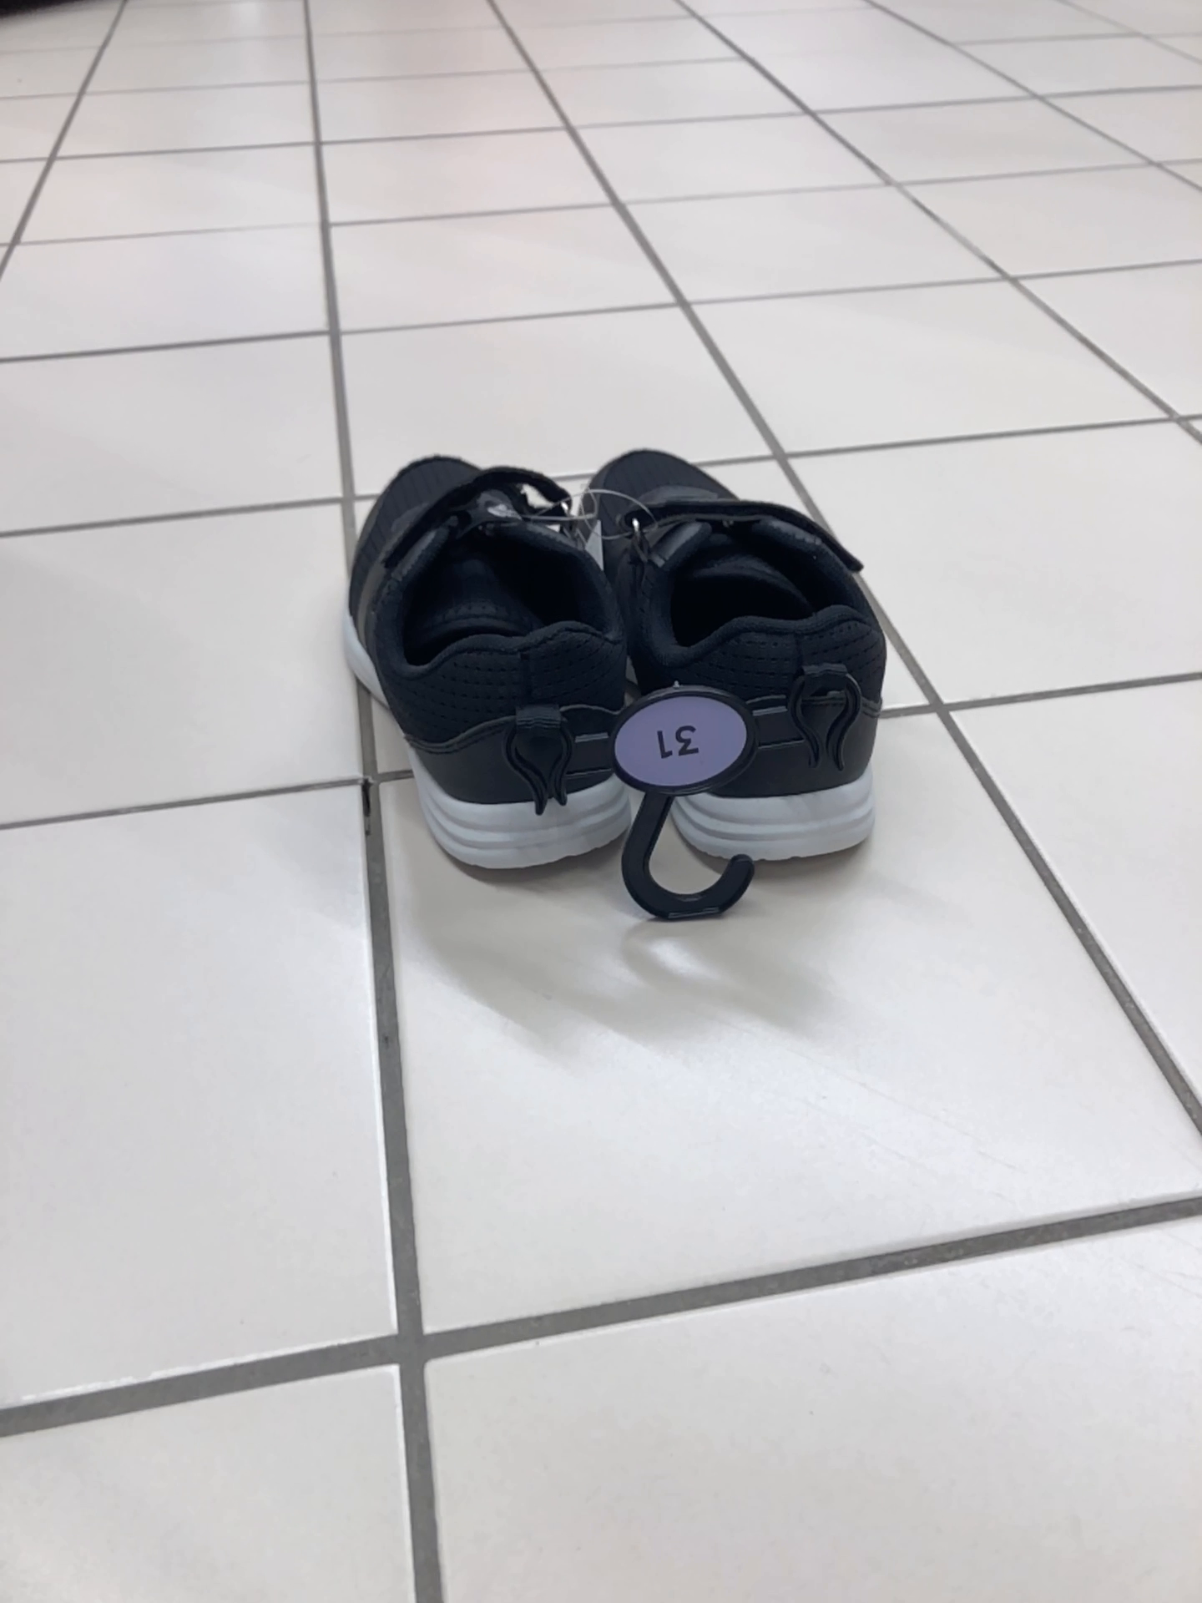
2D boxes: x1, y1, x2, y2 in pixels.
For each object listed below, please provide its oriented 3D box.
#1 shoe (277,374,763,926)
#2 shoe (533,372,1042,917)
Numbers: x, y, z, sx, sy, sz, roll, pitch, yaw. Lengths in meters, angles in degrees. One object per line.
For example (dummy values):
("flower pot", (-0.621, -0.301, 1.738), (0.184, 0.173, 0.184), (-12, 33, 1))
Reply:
("shoe", (-0.039, -0.067, 0.453), (0.098, 0.064, 0.223), (-14, 41, -15))
("shoe", (0.047, -0.068, 0.453), (0.097, 0.064, 0.223), (-9, 40, -9))
